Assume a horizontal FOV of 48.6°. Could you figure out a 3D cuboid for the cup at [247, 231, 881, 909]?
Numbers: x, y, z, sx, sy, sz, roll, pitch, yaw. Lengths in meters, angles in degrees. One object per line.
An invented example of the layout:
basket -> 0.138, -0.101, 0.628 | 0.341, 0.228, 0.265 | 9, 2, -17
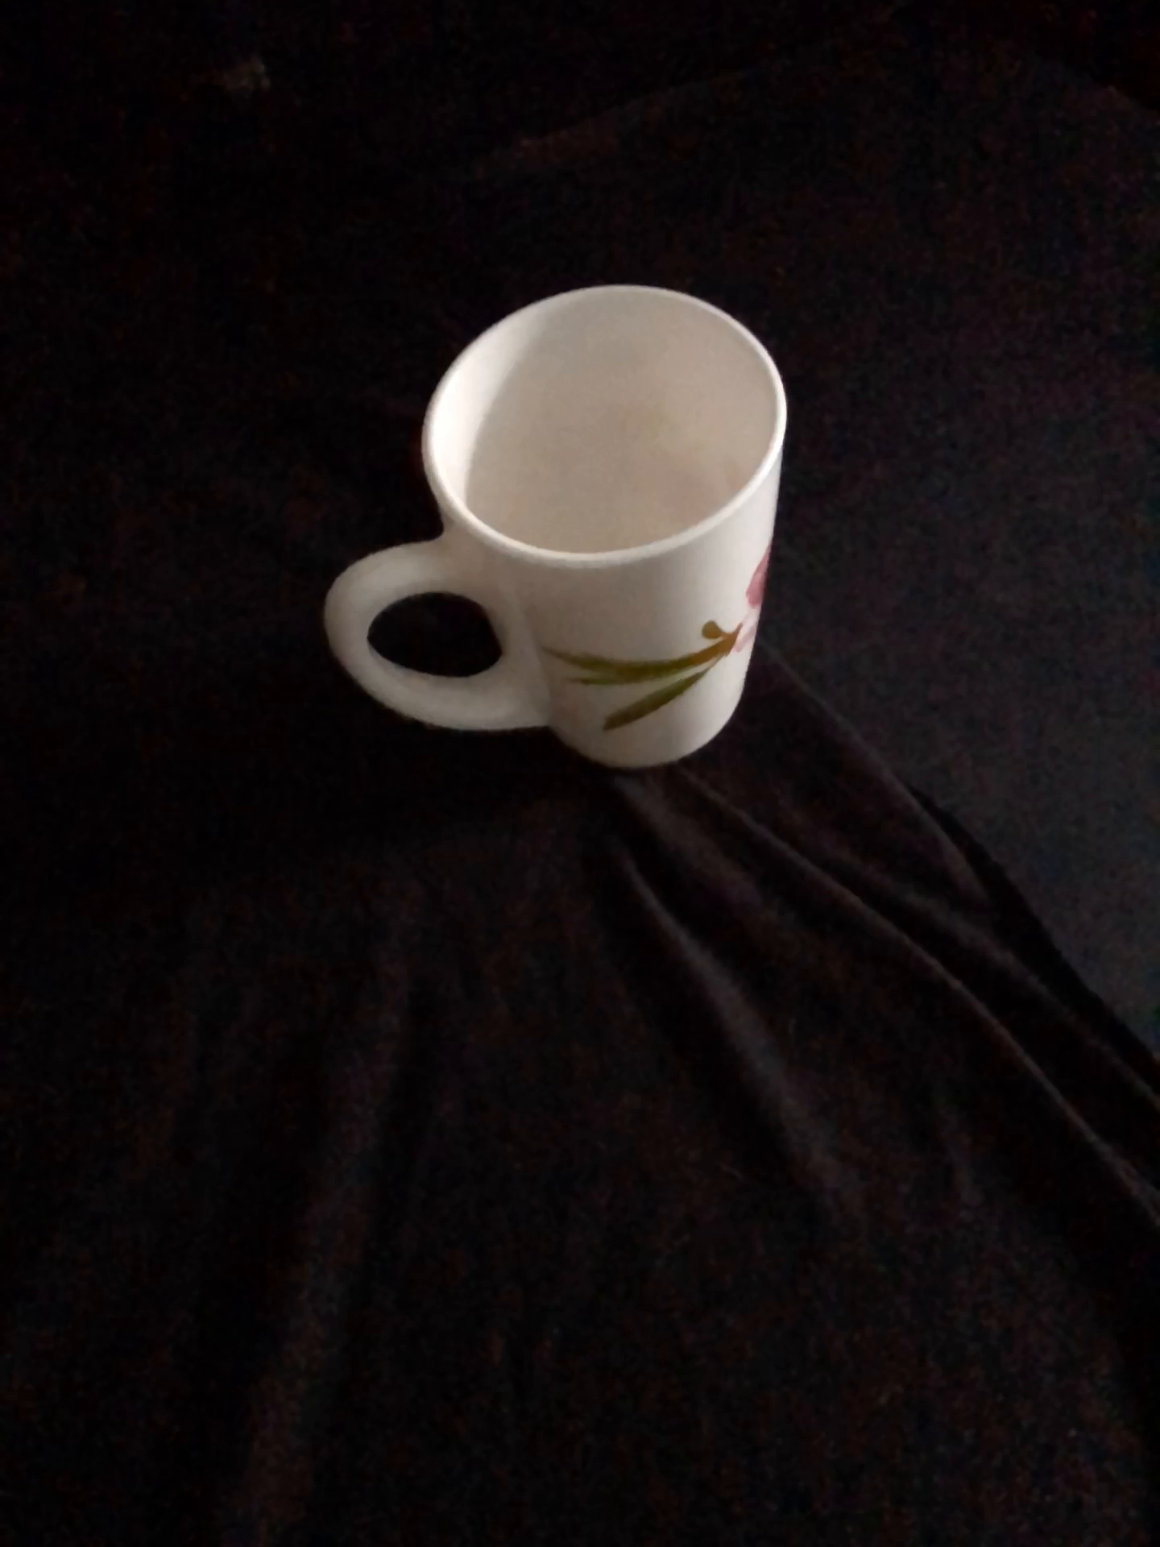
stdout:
cup -> -0.004, -0.052, 0.368 | 0.125, 0.130, 0.090 | -28, 65, -14
